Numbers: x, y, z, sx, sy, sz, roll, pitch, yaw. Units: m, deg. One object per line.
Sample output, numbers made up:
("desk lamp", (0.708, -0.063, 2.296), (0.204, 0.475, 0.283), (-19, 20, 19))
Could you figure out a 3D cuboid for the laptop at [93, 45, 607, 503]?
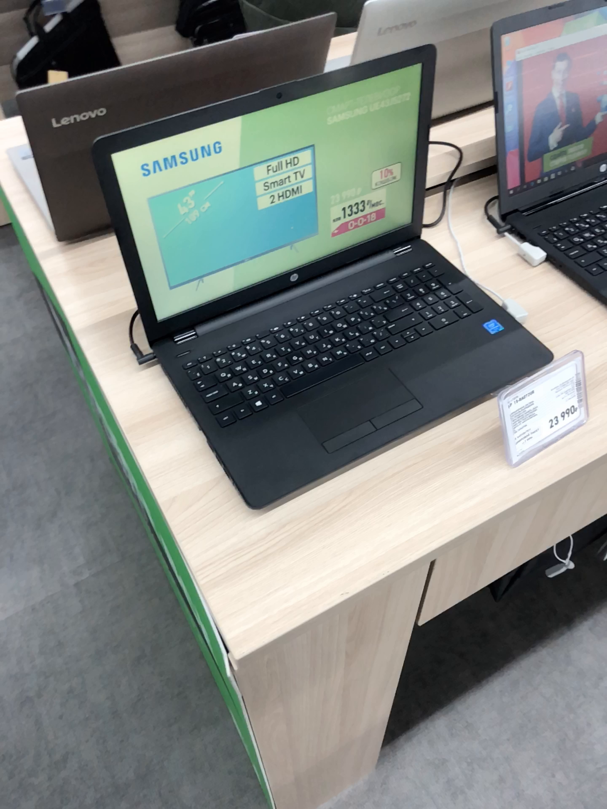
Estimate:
("laptop", (0.041, -0.146, 0.659), (0.362, 0.222, 0.274), (-24, 54, -19))
